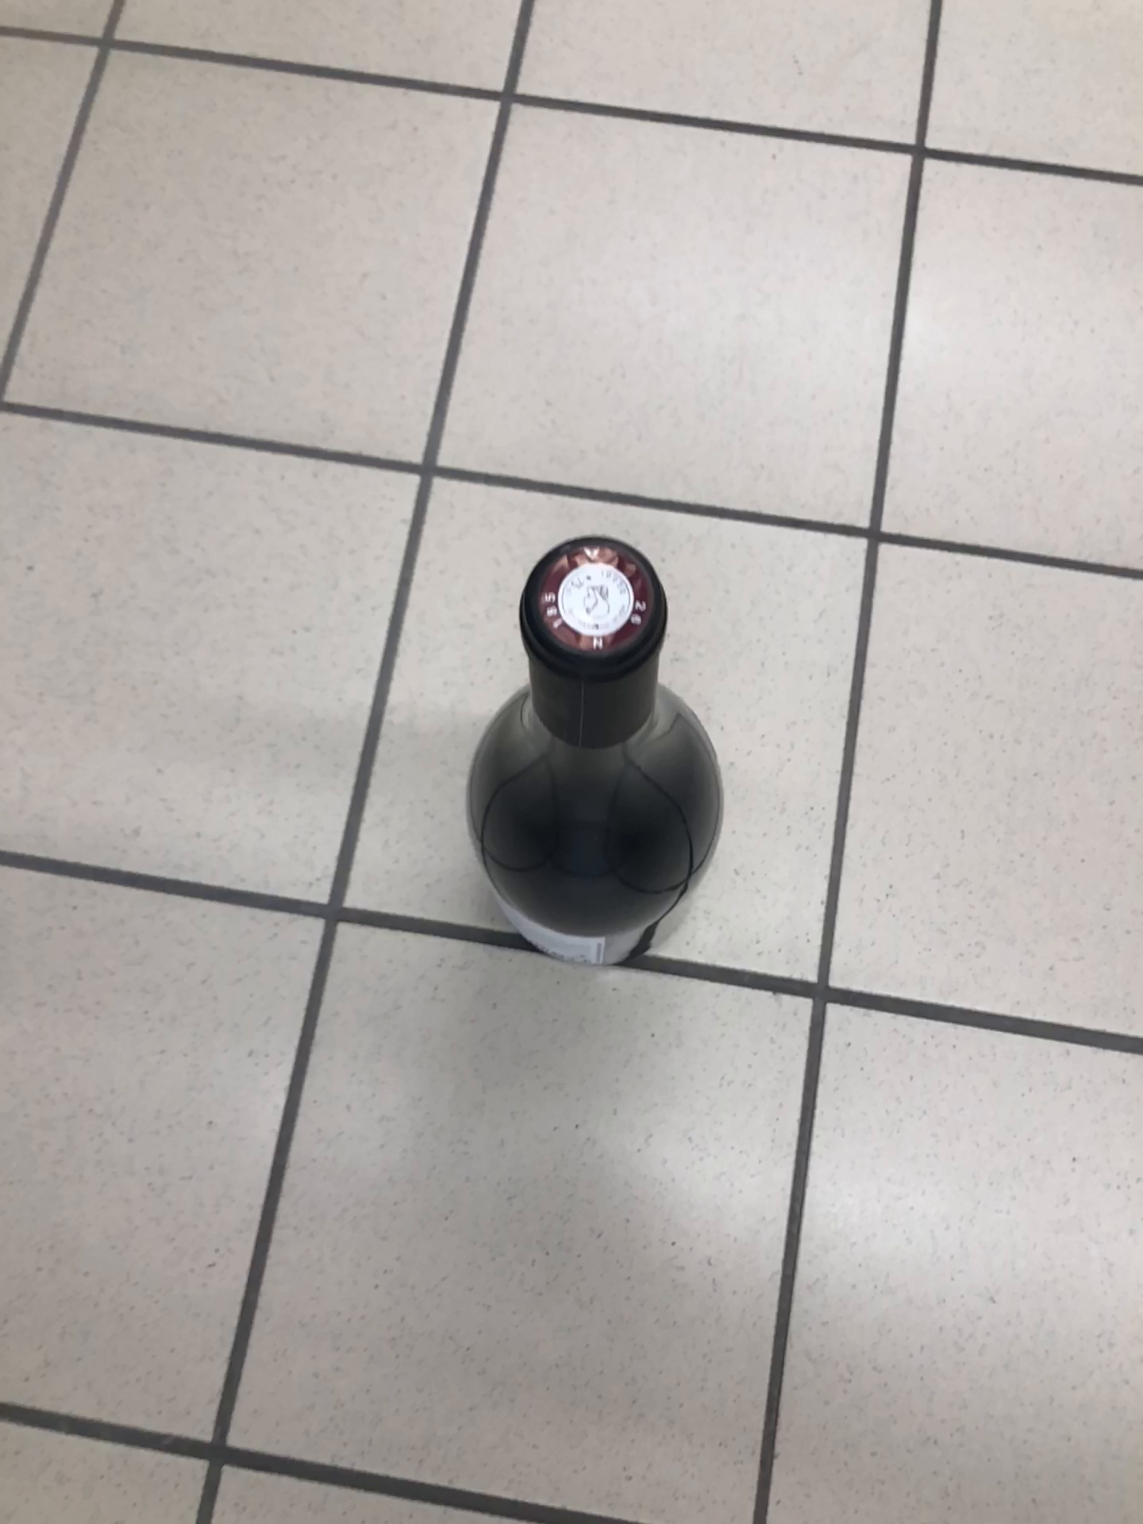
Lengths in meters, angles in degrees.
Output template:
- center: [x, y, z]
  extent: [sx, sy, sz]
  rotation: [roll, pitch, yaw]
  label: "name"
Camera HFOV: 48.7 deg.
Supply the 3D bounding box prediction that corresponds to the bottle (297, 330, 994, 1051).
- center: [0.015, 0.014, 0.370]
  extent: [0.090, 0.290, 0.090]
  rotation: [0, 75, 1]
  label: "bottle"
